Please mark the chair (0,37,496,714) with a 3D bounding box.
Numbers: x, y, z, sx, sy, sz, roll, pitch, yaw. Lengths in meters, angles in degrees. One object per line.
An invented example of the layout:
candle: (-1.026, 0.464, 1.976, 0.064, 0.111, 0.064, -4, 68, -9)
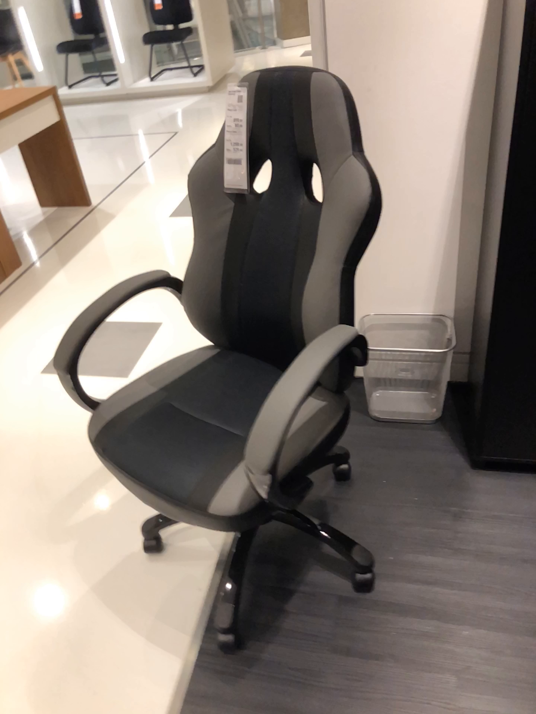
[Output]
chair: (-0.042, -0.005, 1.355, 0.712, 1.161, 0.784, 21, 45, 35)
